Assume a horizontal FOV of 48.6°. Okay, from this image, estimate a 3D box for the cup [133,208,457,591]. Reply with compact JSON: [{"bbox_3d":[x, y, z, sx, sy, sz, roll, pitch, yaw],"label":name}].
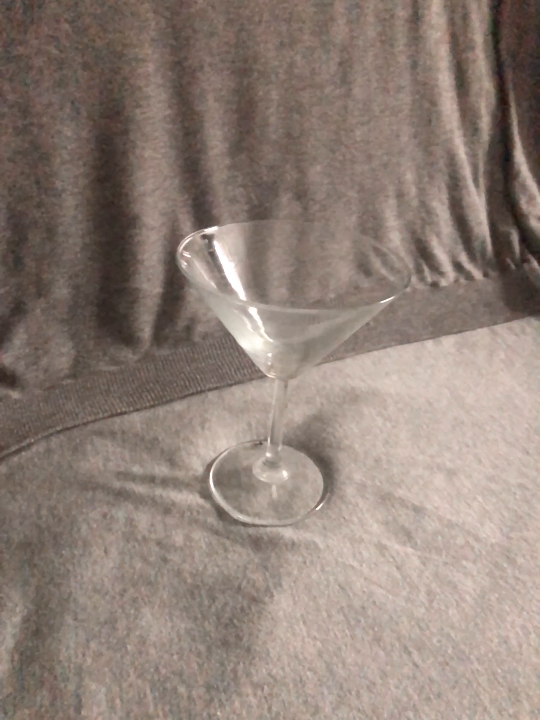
[{"bbox_3d":[-0.002,0.014,0.324,0.113,0.157,0.112,7,32,-4],"label":"cup"}]
